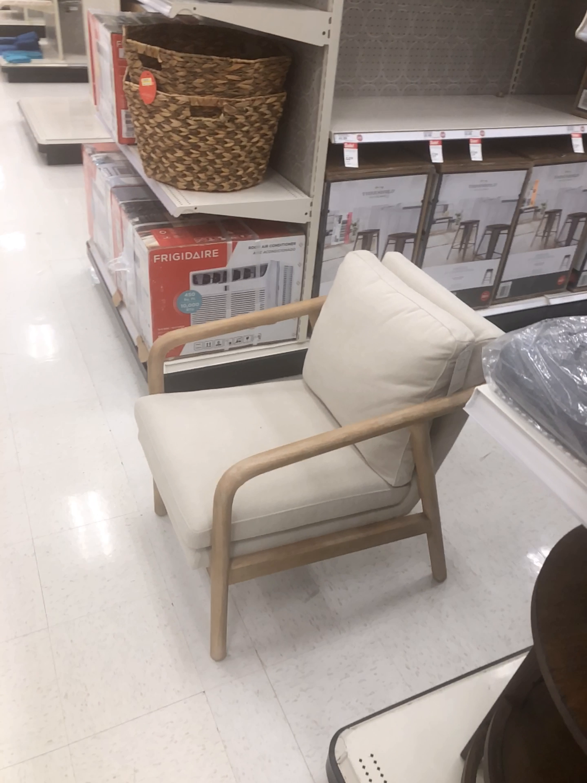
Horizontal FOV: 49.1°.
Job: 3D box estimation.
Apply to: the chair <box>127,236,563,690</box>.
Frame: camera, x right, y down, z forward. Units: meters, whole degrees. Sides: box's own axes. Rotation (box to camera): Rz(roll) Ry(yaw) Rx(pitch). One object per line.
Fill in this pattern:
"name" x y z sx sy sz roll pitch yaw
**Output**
"chair" 0.052 0.135 1.606 0.761 0.806 0.582 -10 38 -22
